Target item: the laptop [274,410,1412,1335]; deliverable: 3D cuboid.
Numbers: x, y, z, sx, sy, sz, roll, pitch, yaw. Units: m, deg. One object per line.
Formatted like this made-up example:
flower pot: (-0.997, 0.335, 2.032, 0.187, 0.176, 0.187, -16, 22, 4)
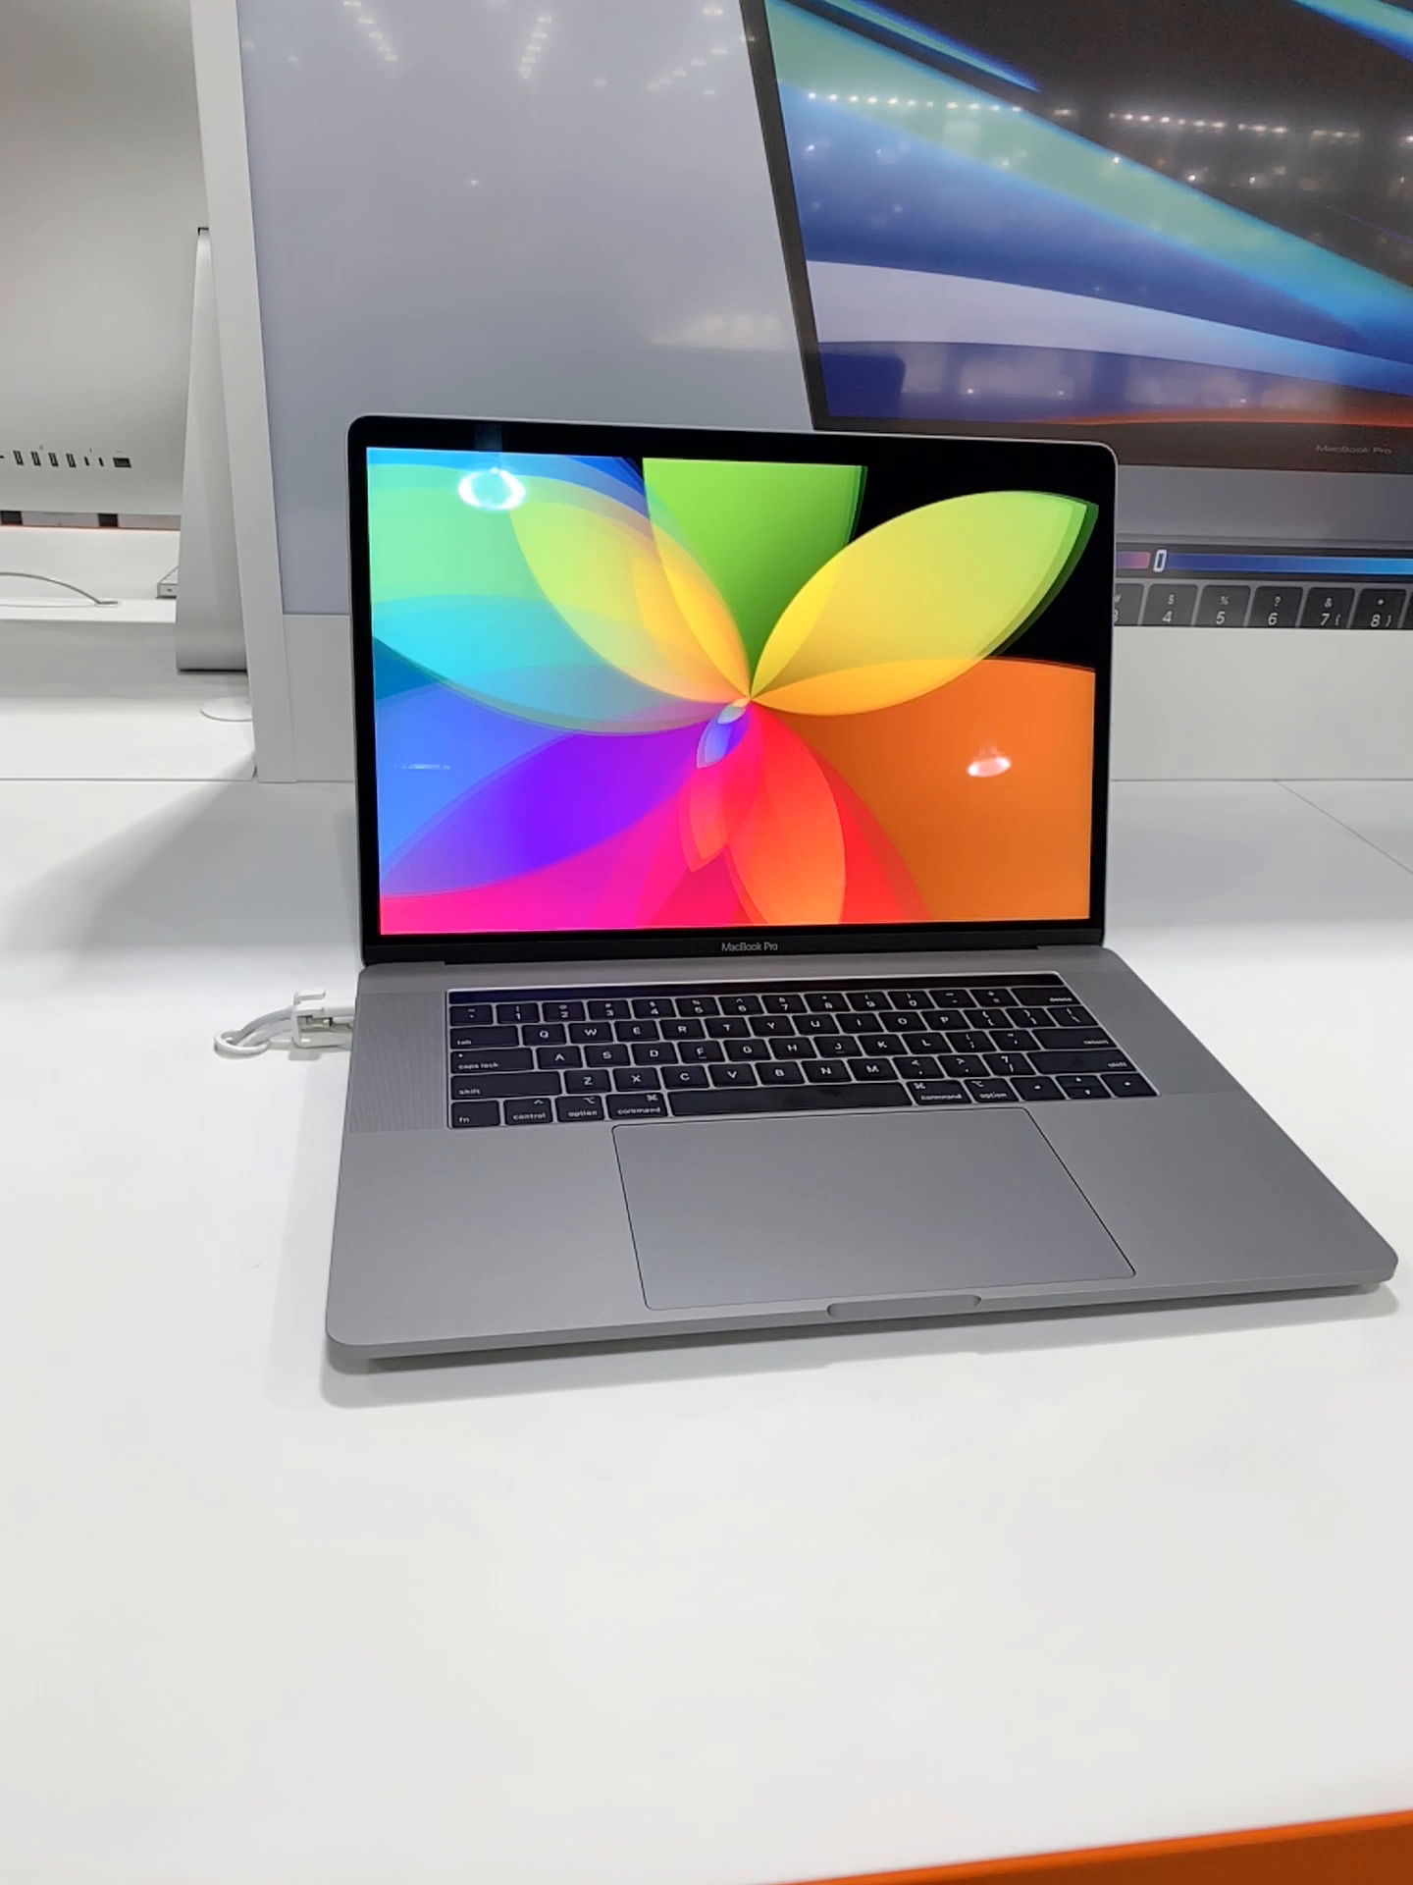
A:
laptop: (0.038, -0.054, 0.518, 0.330, 0.205, 0.304, -1, 26, -11)
